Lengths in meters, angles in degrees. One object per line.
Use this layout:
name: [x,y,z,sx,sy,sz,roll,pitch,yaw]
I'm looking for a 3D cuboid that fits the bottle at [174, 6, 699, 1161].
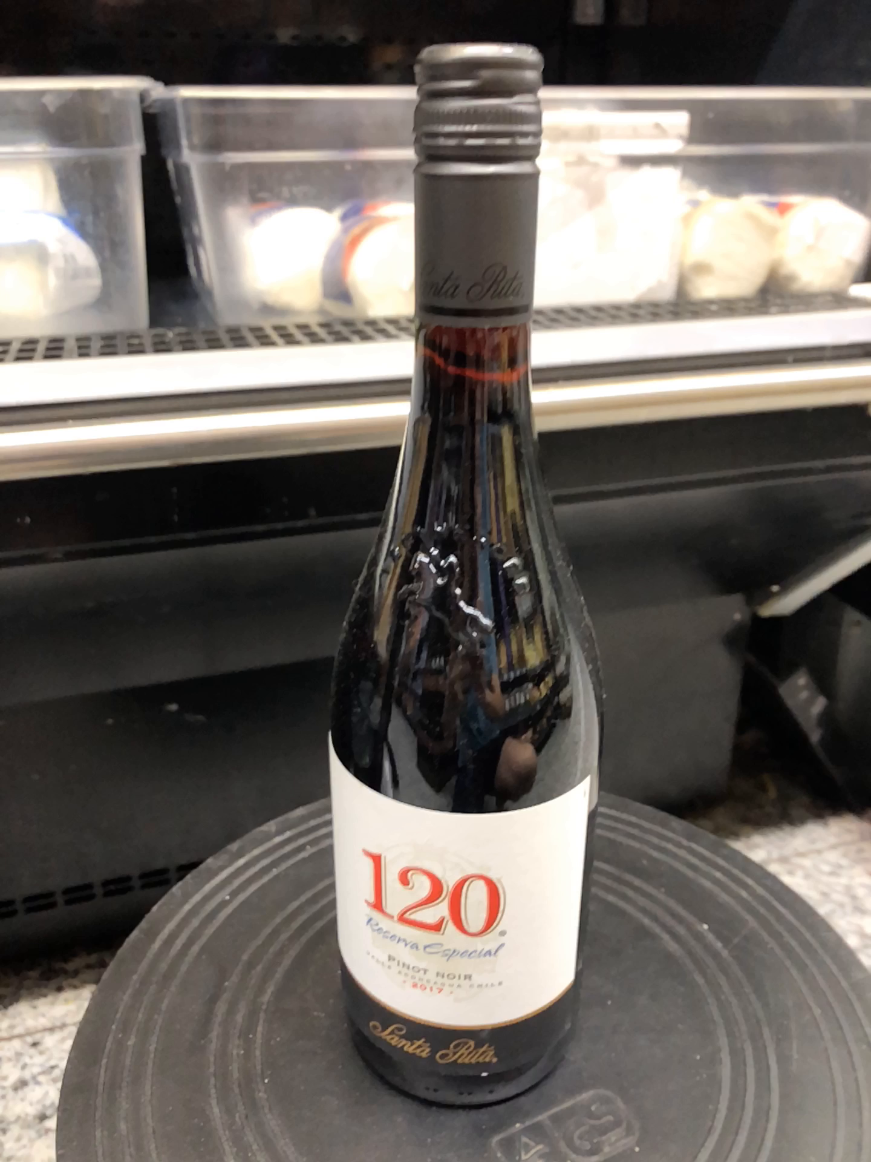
bottle: [0.008,0.015,0.266,0.090,0.288,0.091,0,25,0]
